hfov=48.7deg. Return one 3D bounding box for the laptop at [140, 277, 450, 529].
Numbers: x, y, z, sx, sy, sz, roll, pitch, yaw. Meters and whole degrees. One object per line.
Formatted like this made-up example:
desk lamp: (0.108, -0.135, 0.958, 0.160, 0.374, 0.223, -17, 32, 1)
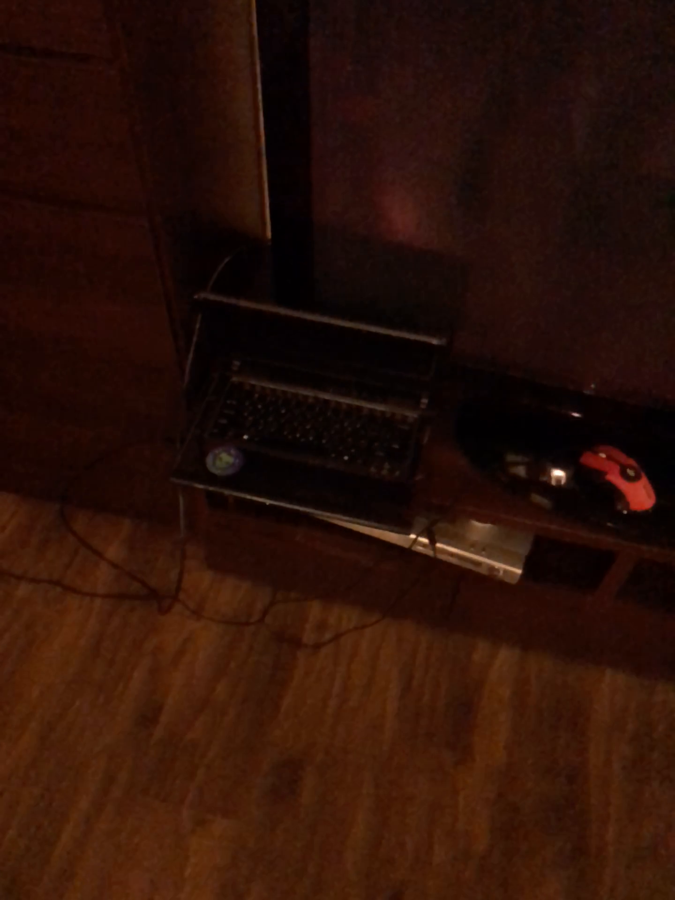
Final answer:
laptop: (-0.046, -0.063, 0.979, 0.336, 0.183, 0.200, 11, 52, 6)
